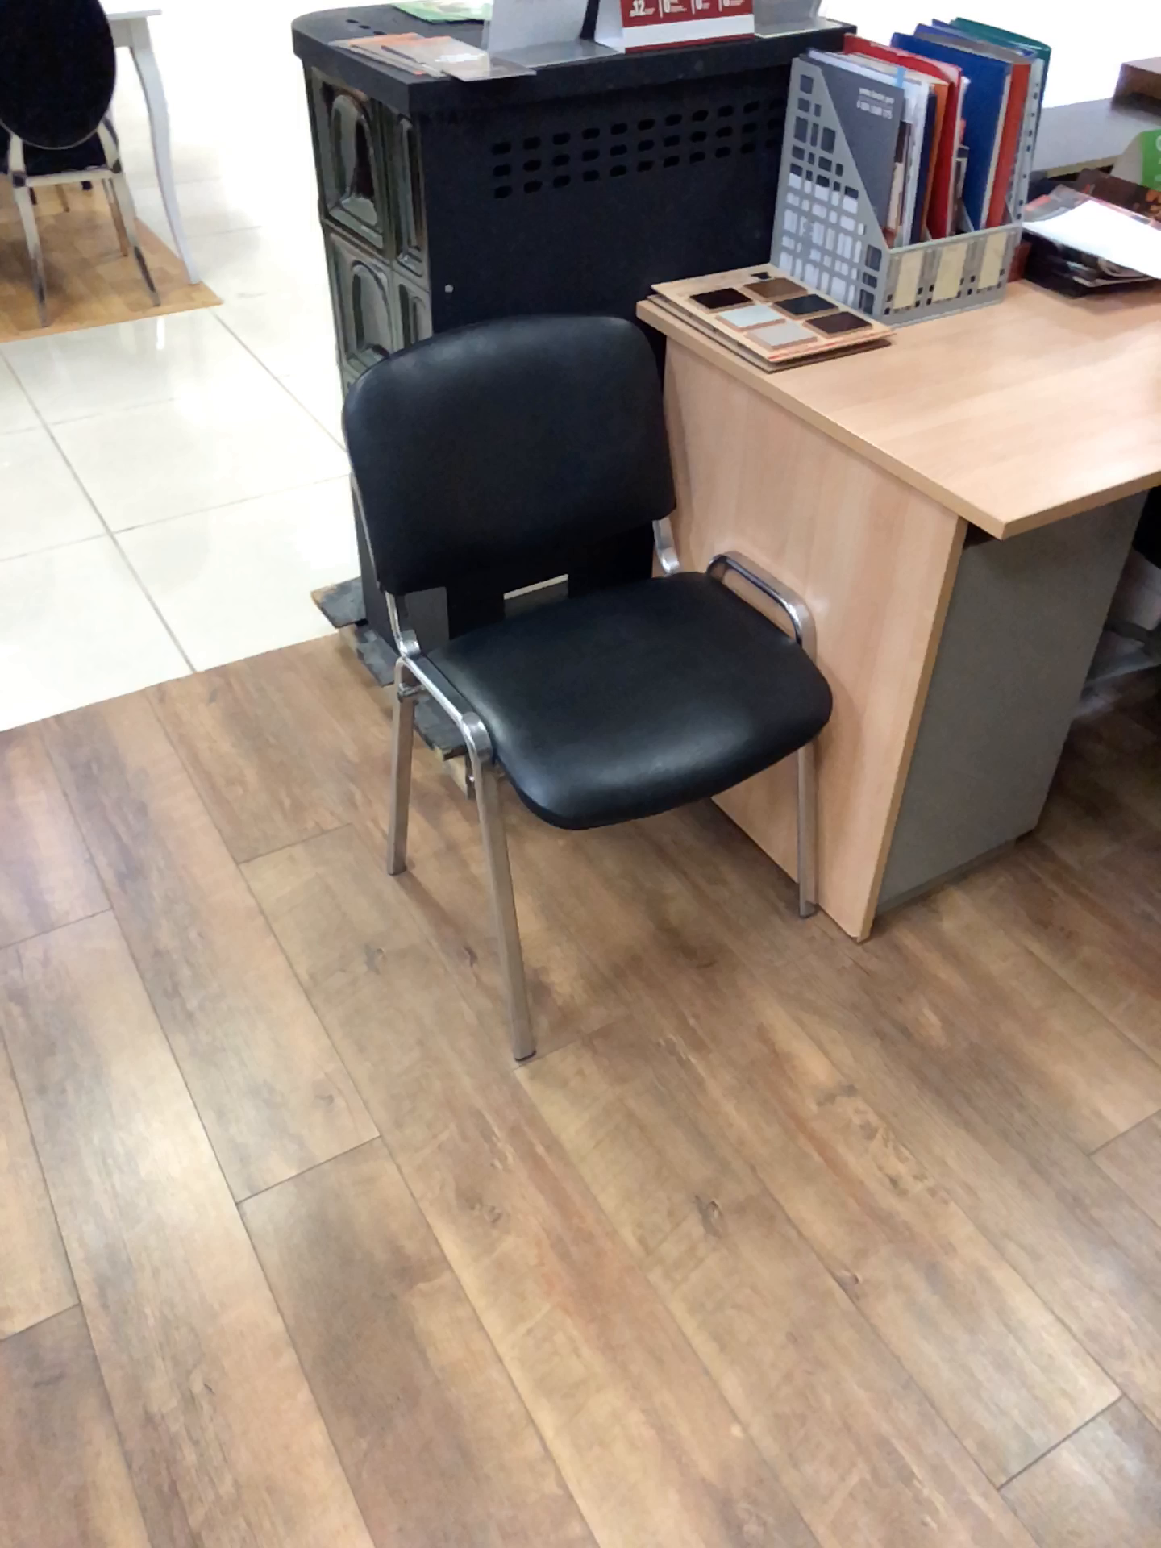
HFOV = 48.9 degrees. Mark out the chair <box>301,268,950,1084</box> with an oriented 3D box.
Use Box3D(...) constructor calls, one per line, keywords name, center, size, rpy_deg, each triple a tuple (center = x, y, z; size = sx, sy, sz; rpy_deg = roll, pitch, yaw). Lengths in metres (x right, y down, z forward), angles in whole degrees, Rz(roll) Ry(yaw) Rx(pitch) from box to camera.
Box3D(name="chair", center=(0.037, -0.135, 1.744), size=(0.581, 0.855, 0.482), rpy_deg=(-21, 45, -24))
